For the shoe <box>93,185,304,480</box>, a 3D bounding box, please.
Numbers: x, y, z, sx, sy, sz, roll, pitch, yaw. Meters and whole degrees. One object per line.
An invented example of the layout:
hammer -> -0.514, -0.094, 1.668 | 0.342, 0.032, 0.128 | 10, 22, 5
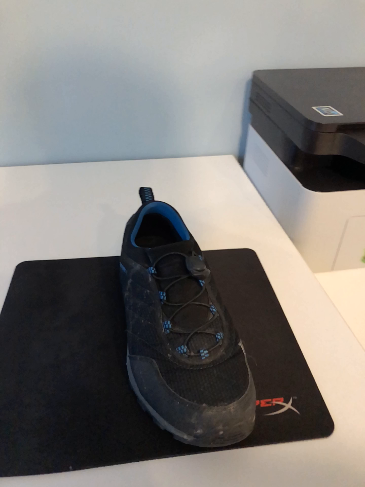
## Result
shoe -> -0.012, 0.062, 0.444 | 0.130, 0.109, 0.302 | -9, 38, -14
